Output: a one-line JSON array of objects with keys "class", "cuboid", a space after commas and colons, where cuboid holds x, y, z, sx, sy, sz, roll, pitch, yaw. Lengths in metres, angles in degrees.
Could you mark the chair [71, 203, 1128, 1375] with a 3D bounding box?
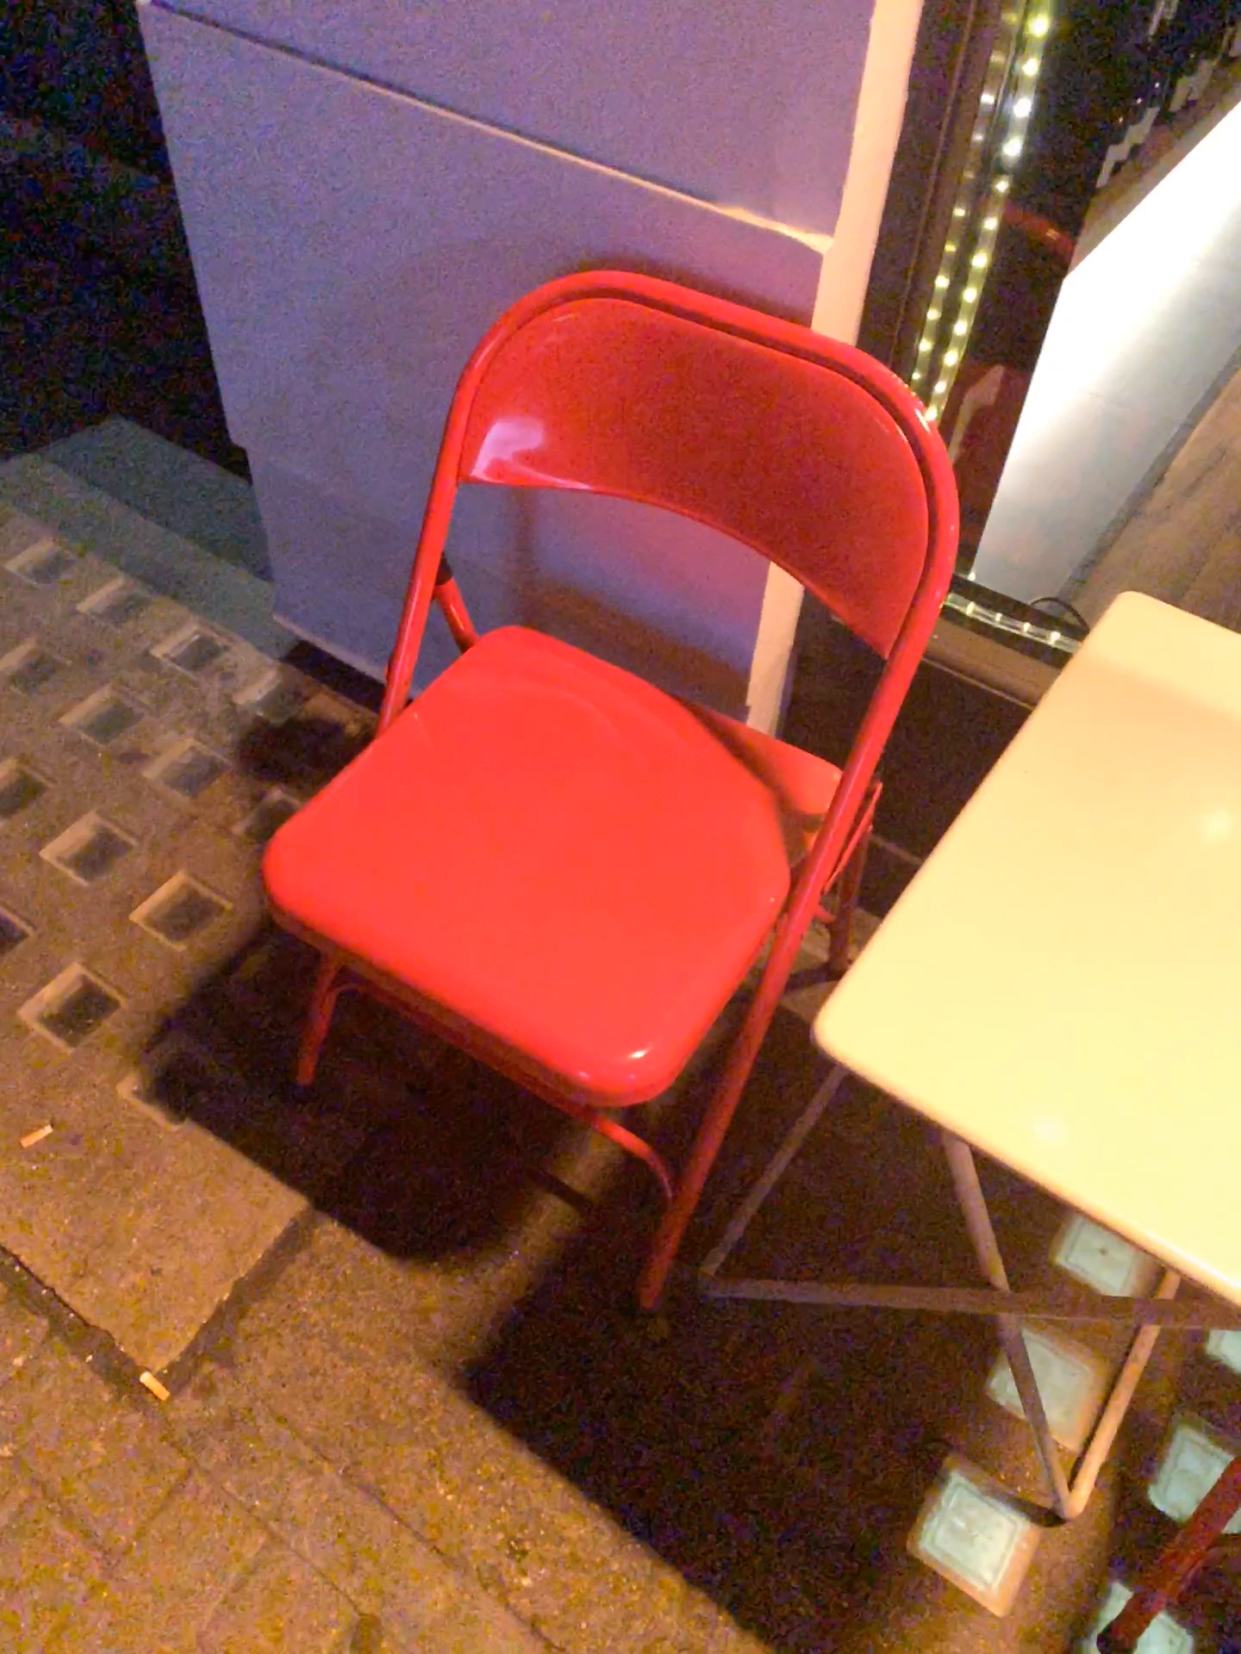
[{"class": "chair", "cuboid": [0.000, -0.005, 1.104, 0.471, 0.743, 0.533, 28, 54, 18]}]
